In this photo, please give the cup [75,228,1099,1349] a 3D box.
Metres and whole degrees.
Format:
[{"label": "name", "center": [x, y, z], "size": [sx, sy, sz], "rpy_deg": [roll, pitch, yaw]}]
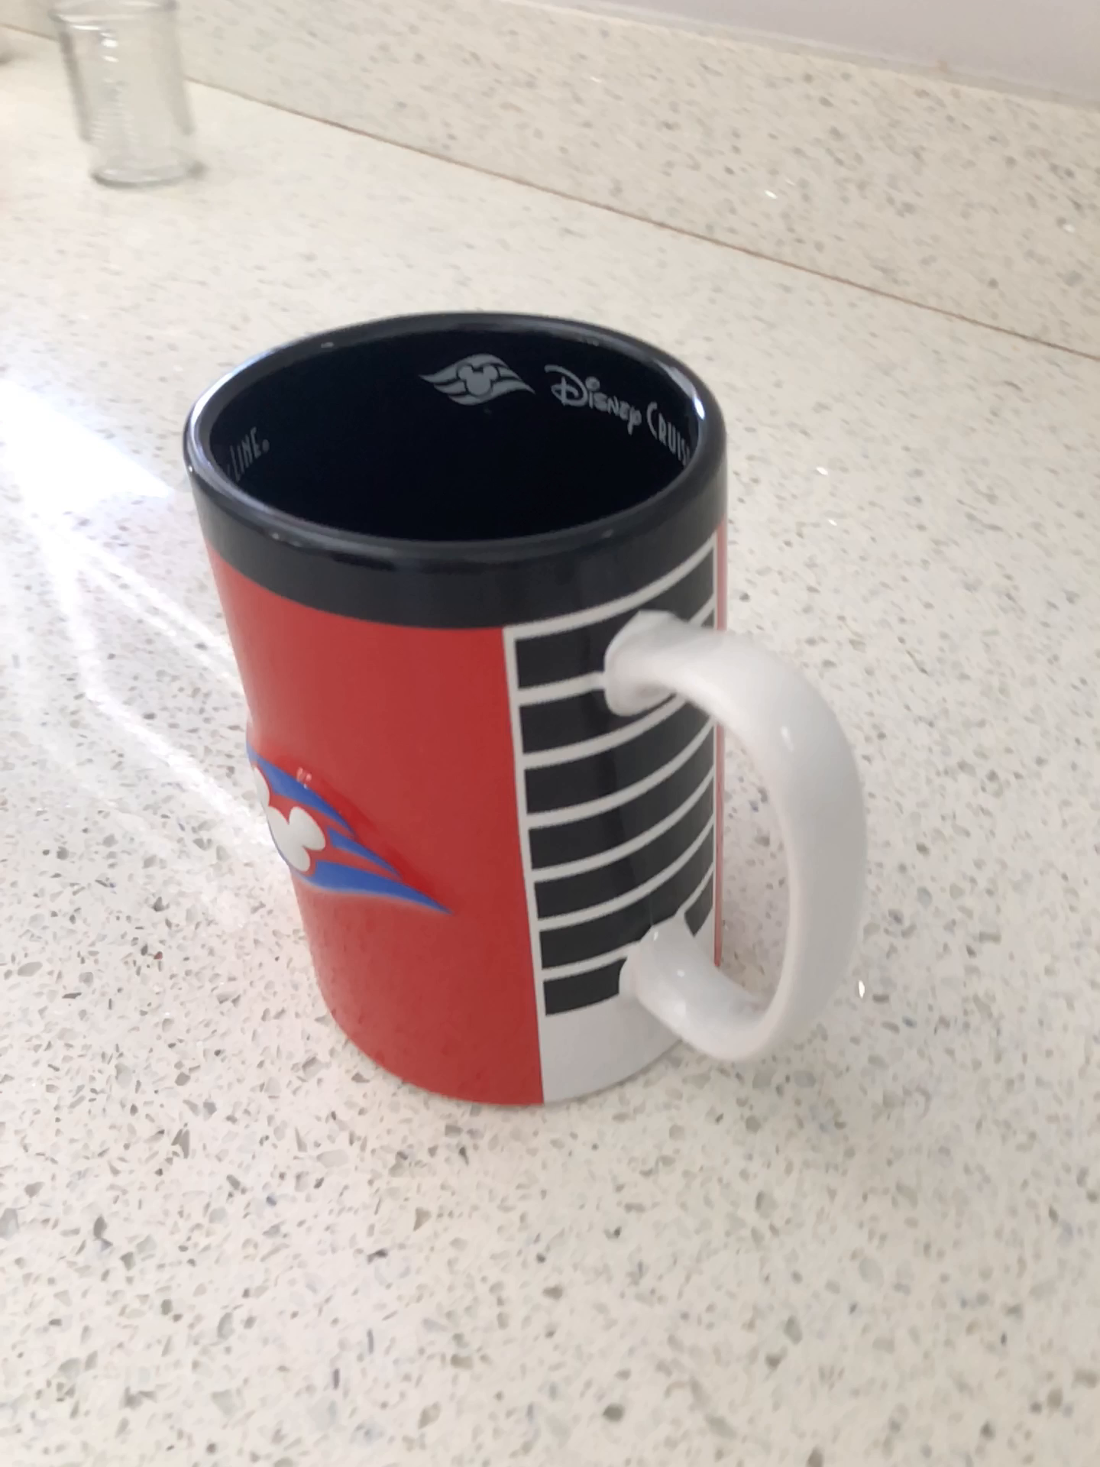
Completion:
[{"label": "cup", "center": [0.003, -0.002, 0.206], "size": [0.090, 0.110, 0.131], "rpy_deg": [-27, 47, -28]}]
